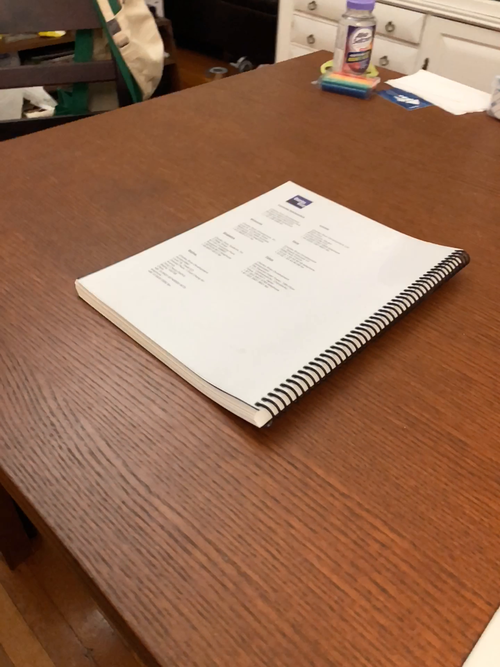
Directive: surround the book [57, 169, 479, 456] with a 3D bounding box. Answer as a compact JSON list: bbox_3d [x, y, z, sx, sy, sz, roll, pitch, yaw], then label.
[{"bbox_3d":[0.026,-0.054,0.493,0.230,0.020,0.301,33,50,30],"label":"book"}]
